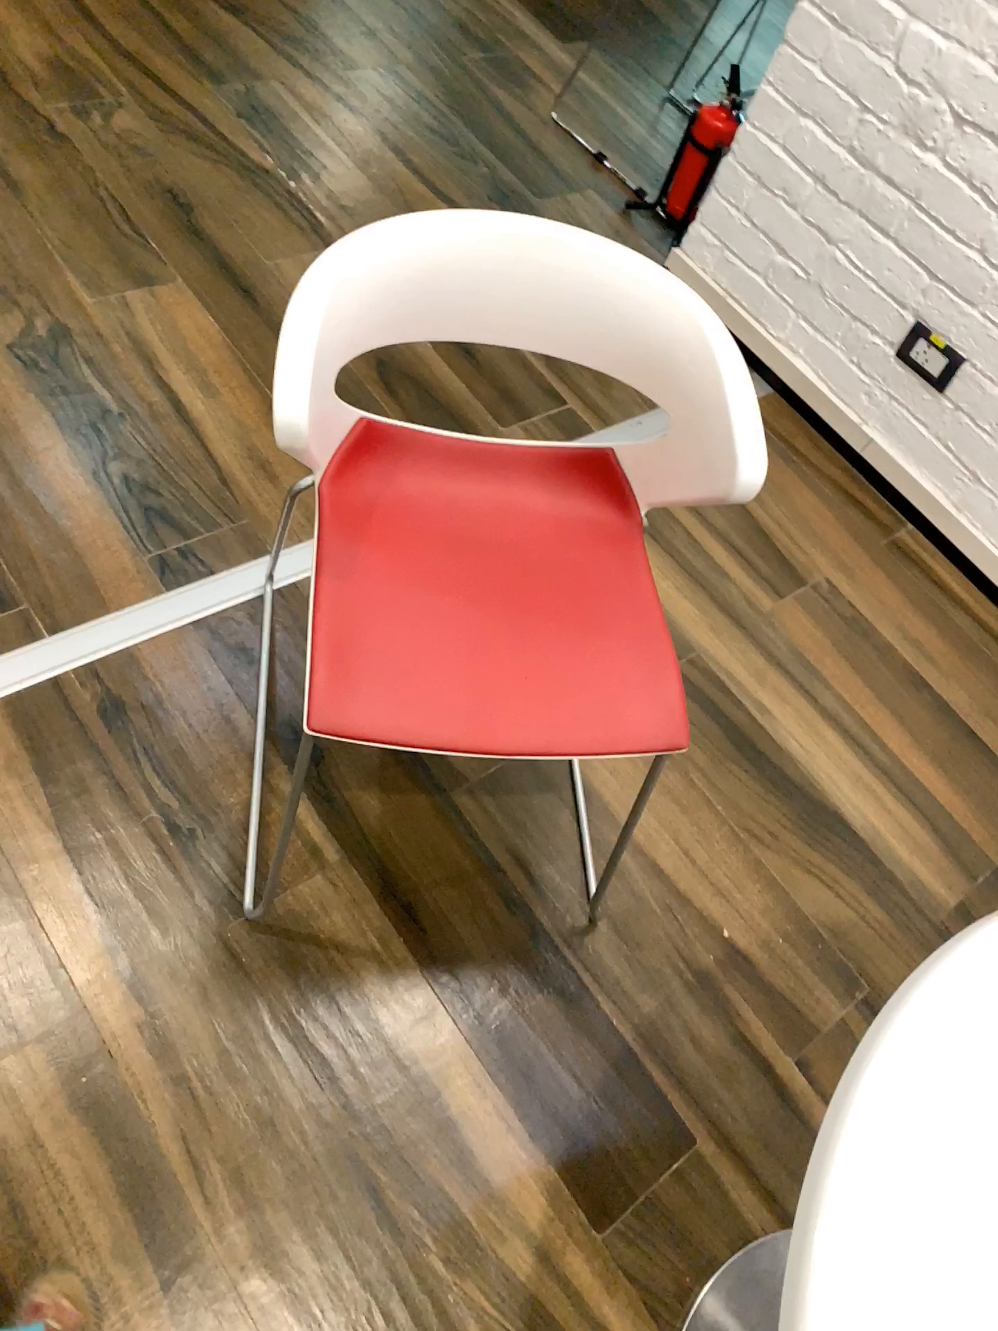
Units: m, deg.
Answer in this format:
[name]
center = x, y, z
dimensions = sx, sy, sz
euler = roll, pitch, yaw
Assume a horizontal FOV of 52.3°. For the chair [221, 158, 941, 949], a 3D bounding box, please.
[chair]
center = -0.001, -0.075, 1.276
dimensions = 0.590, 0.675, 0.644
euler = 6, 55, -15
